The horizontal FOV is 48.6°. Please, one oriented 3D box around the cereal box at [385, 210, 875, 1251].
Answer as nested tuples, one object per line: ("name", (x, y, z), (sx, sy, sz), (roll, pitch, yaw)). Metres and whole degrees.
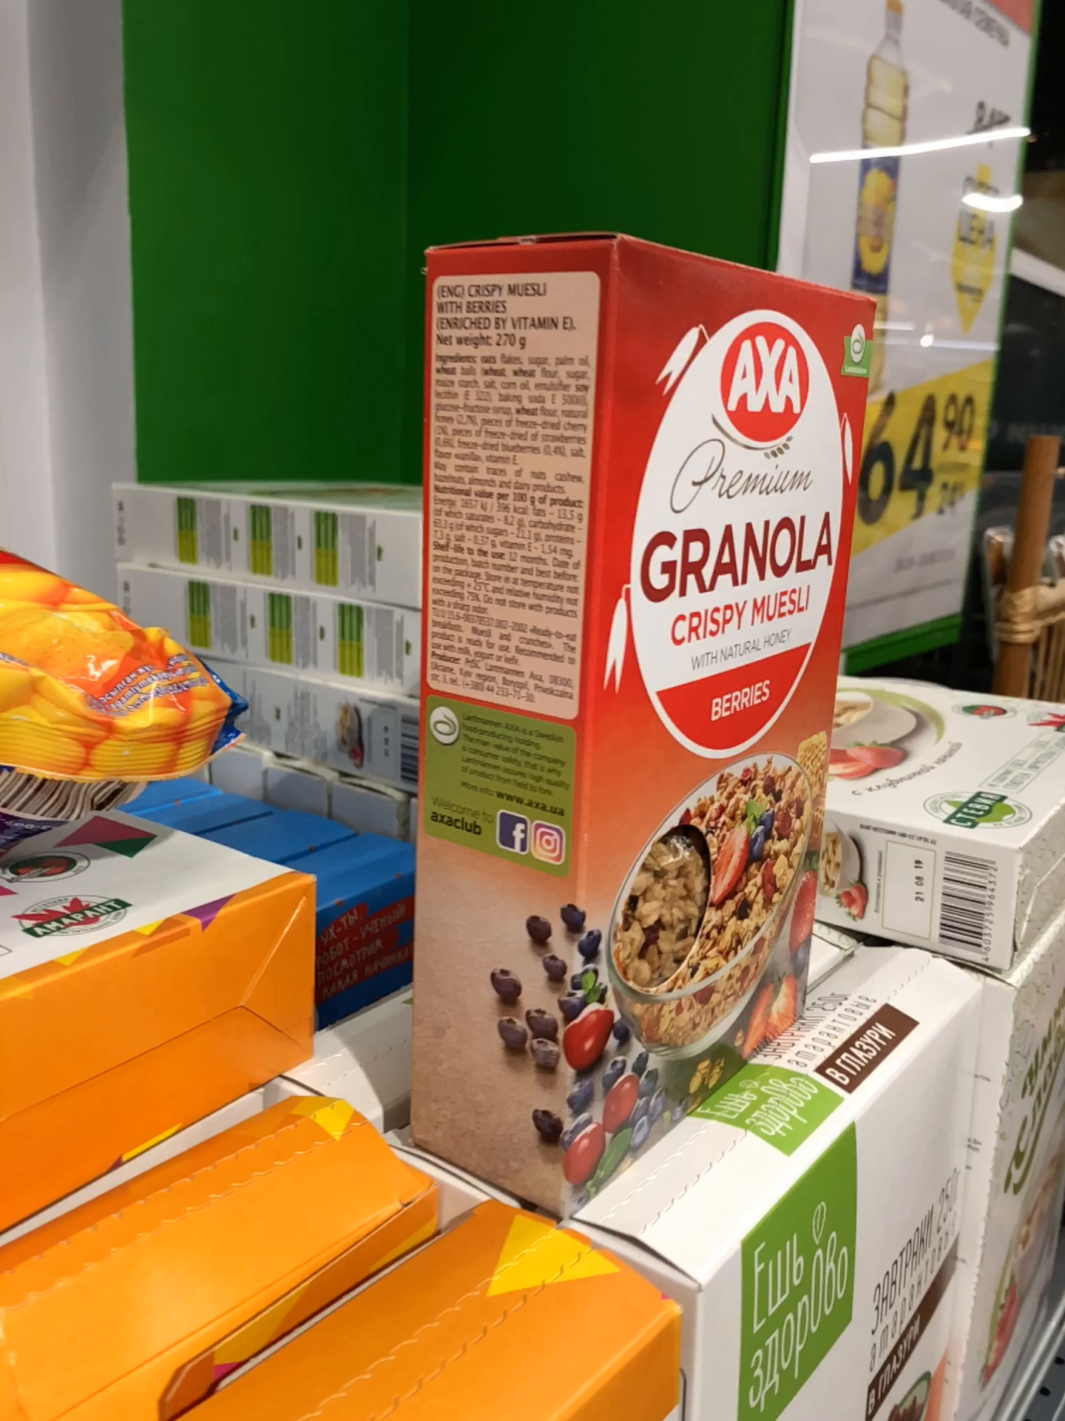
("cereal box", (0.028, 0.000, 0.306), (0.050, 0.219, 0.130), (13, 16, 35))
